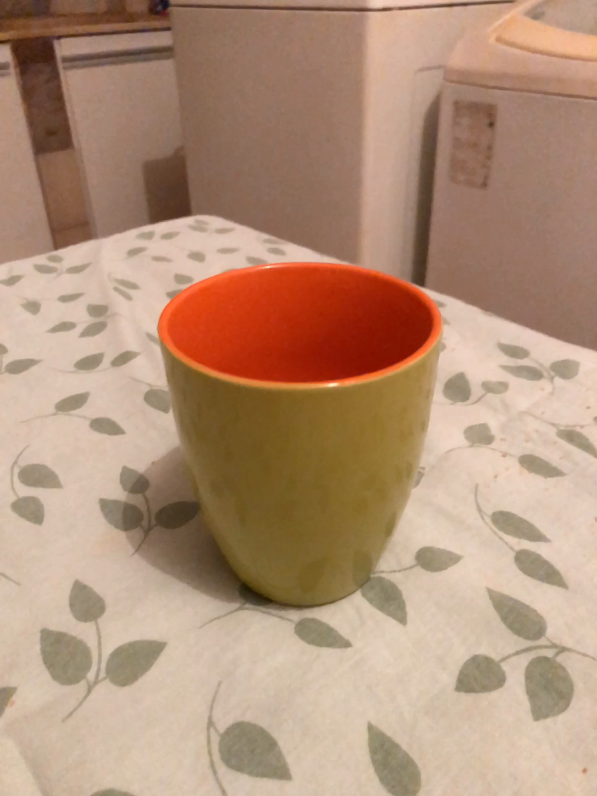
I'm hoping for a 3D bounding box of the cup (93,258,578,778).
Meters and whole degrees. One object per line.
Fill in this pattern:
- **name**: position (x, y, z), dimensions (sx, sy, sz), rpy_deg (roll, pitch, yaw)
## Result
- **cup**: position (0.005, 0.025, 0.197), dimensions (0.090, 0.089, 0.121), rpy_deg (-2, 33, -2)
